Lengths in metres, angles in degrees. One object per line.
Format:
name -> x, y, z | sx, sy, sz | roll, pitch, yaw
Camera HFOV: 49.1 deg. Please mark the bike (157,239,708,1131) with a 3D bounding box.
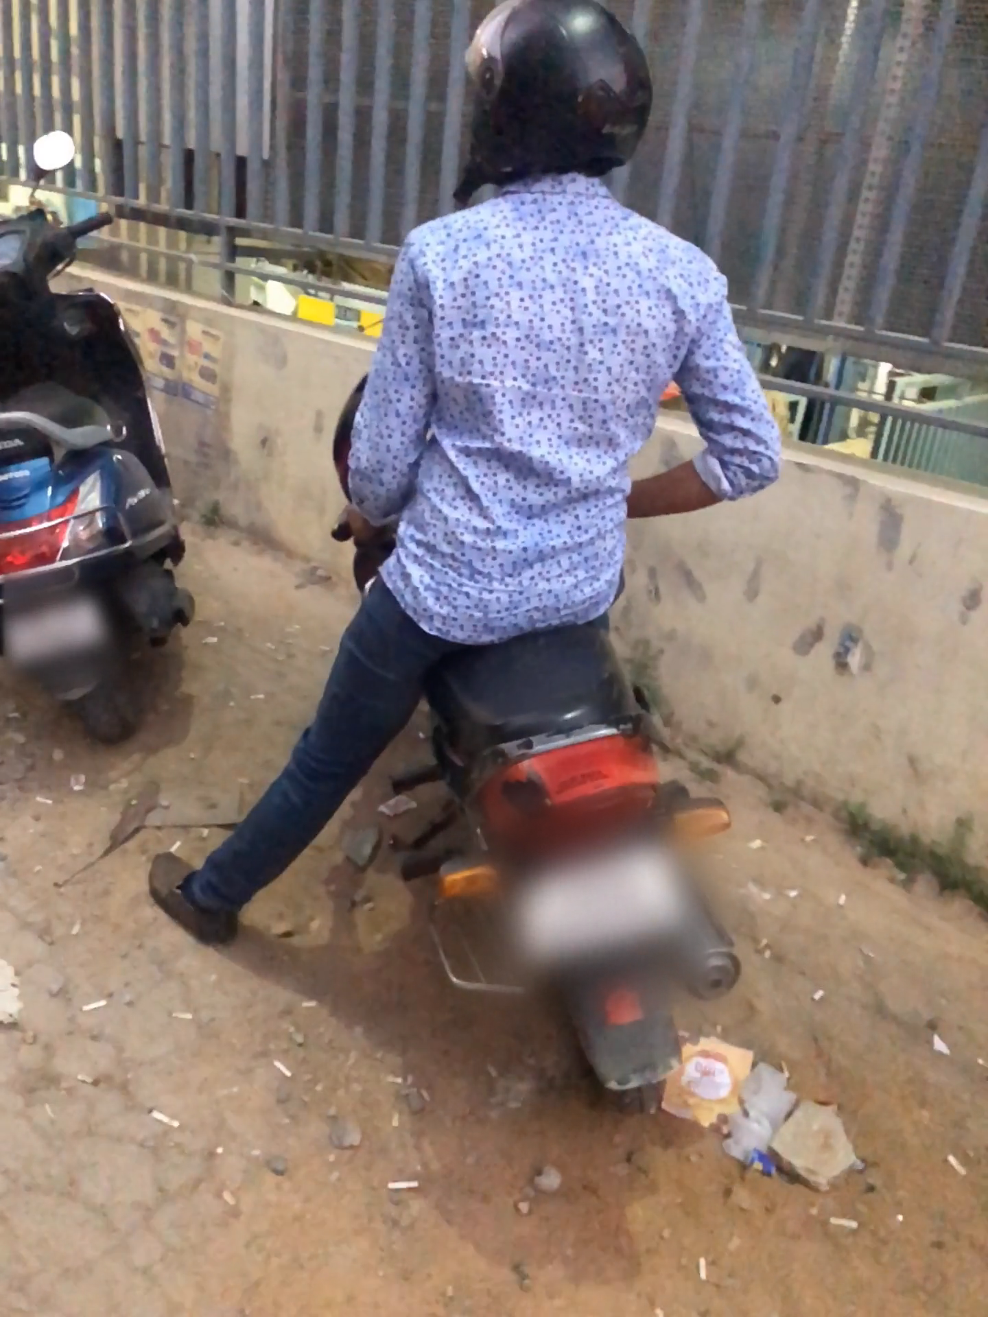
bike -> -0.306, -0.140, 2.060 | 0.425, 0.830, 1.659 | -3, 32, -23
